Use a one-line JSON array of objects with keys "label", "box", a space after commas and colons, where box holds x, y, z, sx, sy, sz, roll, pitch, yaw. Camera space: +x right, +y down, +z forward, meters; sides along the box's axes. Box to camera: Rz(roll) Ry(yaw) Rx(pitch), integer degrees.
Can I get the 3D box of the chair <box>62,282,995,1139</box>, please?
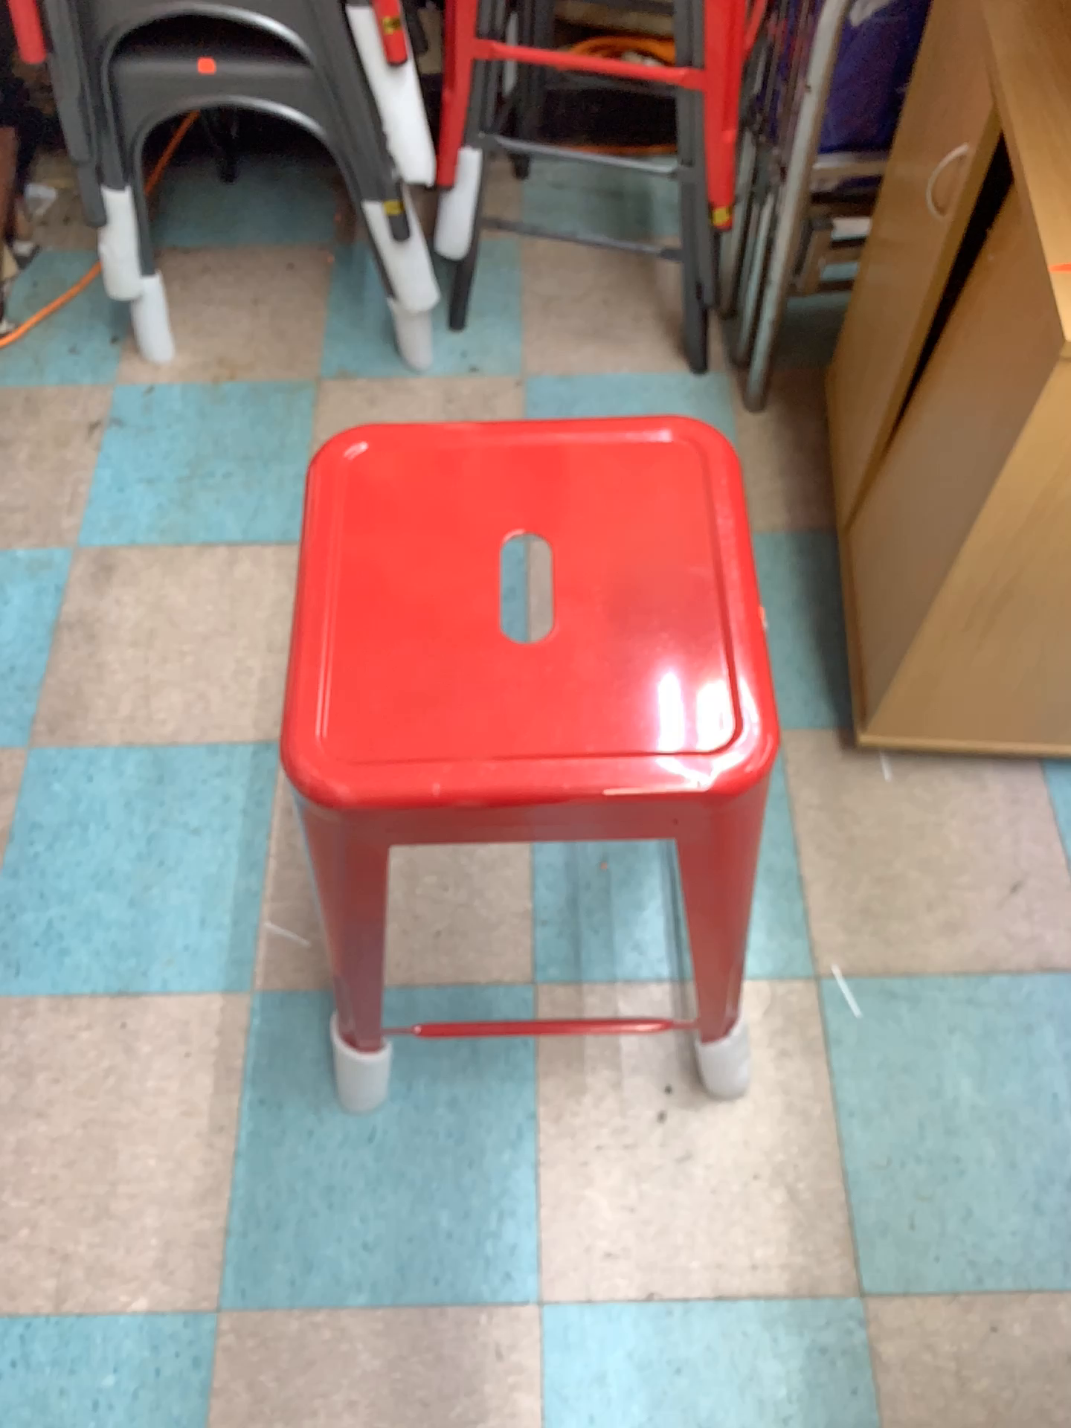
[{"label": "chair", "box": [-0.001, 0.059, 0.886, 0.438, 0.600, 0.435, -2, 61, 1]}]
